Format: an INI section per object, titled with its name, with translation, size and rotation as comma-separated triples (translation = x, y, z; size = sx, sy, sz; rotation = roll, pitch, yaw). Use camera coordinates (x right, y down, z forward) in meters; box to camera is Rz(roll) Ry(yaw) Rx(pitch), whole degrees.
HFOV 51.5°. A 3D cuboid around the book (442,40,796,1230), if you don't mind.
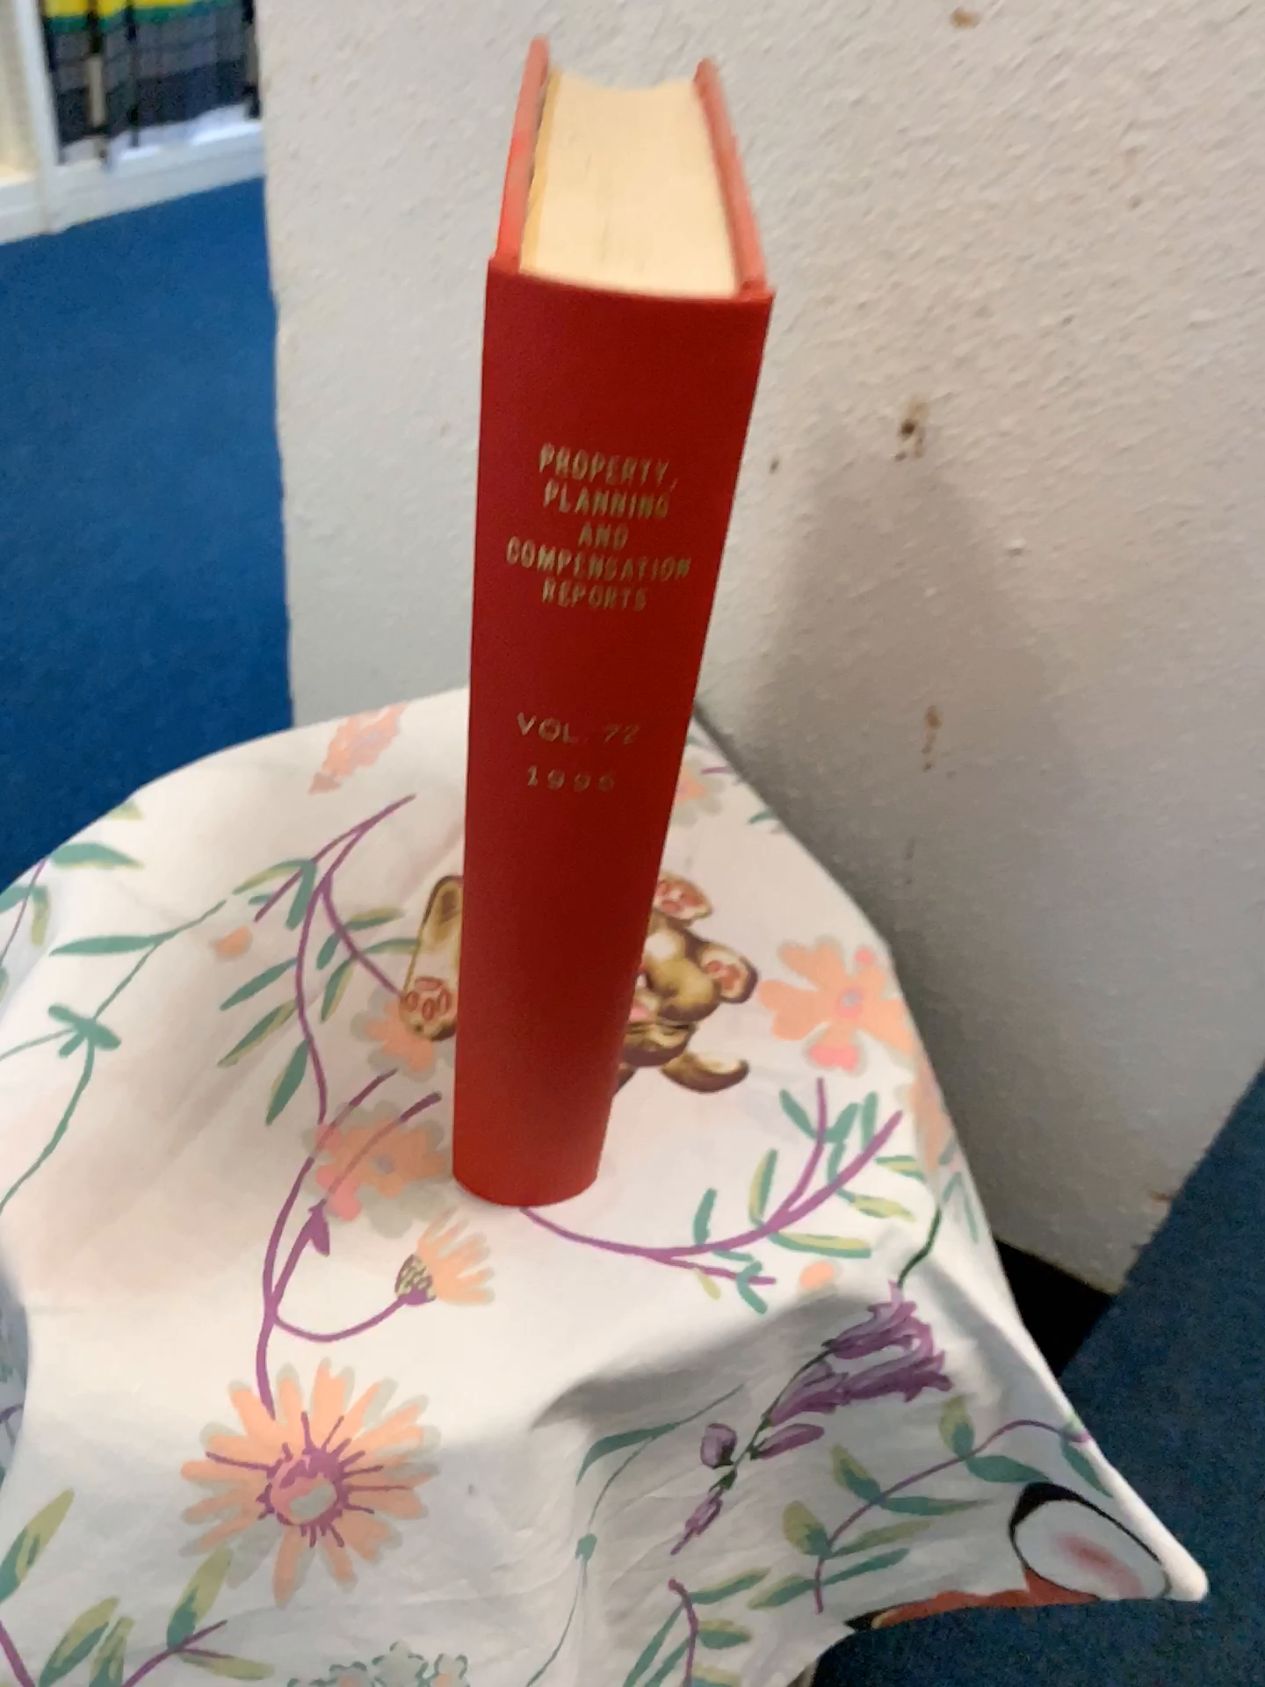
[book]
translation = -0.014, -0.045, 0.336
size = 0.050, 0.245, 0.170
rotation = 4, 41, -4
